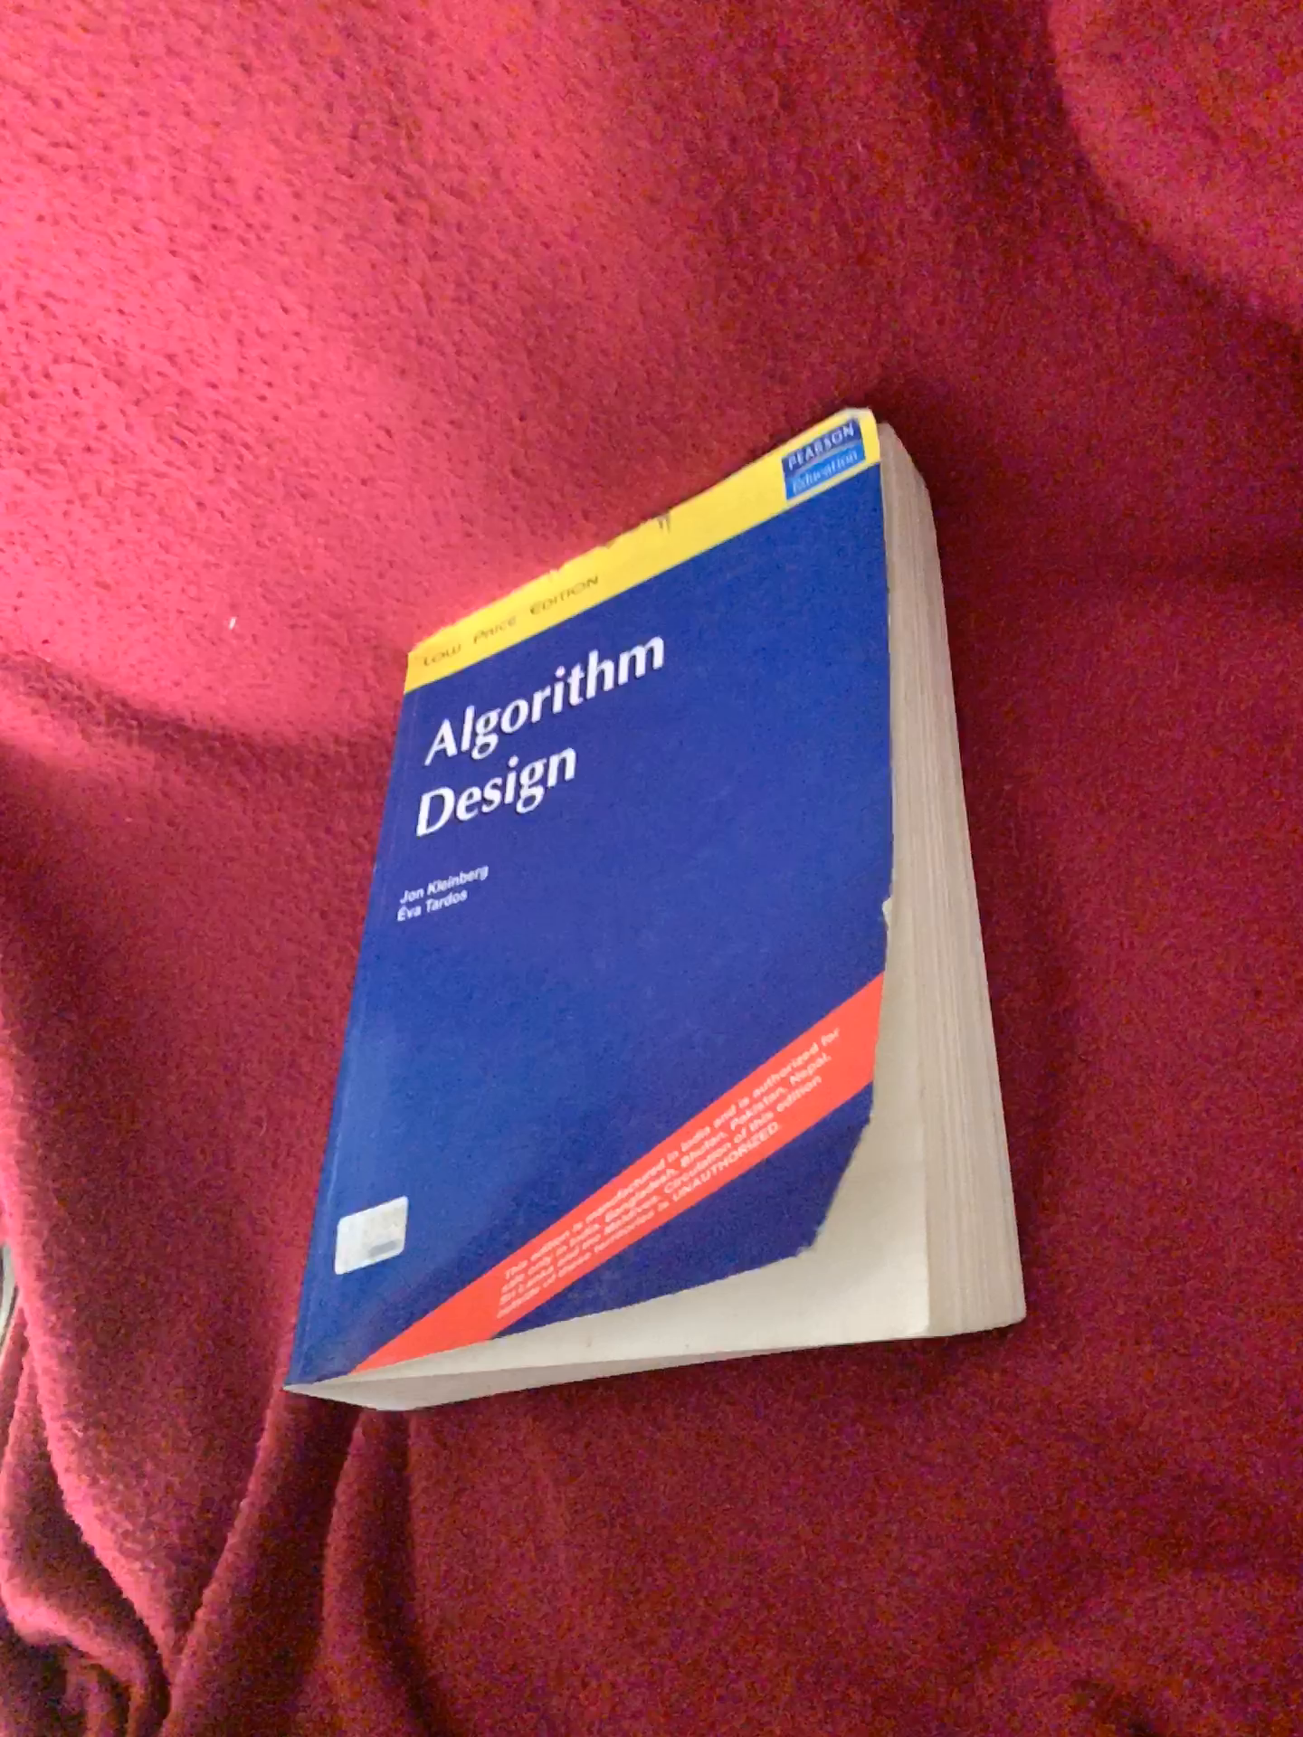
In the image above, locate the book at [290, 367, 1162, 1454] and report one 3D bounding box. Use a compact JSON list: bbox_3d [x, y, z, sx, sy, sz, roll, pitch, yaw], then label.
[{"bbox_3d":[0.010,0.013,0.363,0.190,0.060,0.251,-19,54,30],"label":"book"}]
